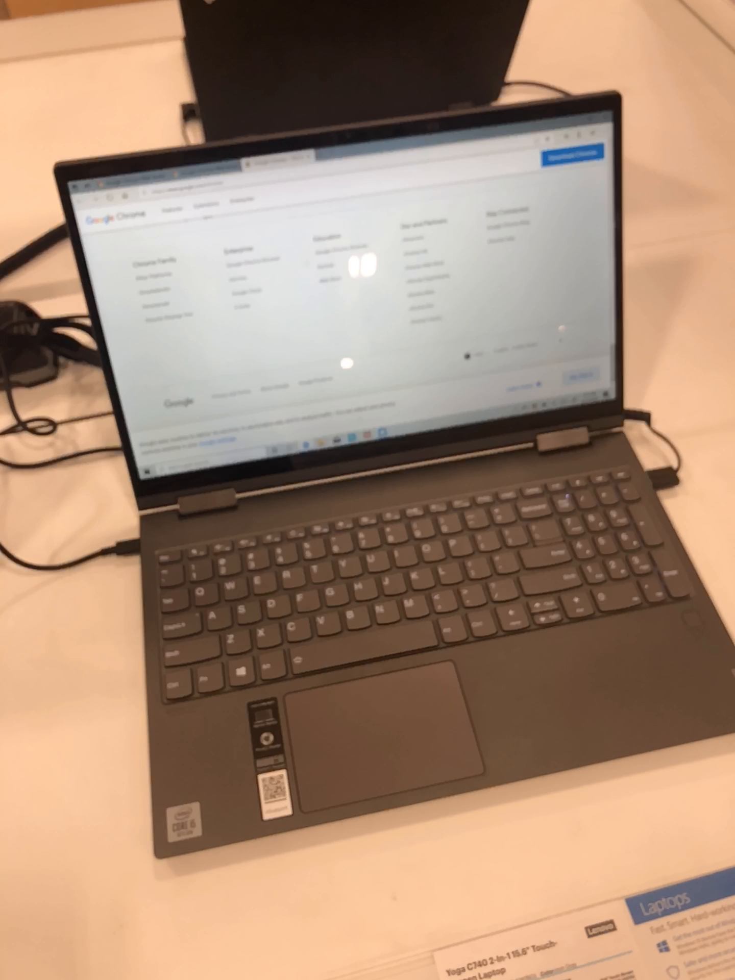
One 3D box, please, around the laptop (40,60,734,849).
[{"bbox_3d":[0.020,-0.039,0.483,0.352,0.179,0.365,-10,59,-6],"label":"laptop"}]
